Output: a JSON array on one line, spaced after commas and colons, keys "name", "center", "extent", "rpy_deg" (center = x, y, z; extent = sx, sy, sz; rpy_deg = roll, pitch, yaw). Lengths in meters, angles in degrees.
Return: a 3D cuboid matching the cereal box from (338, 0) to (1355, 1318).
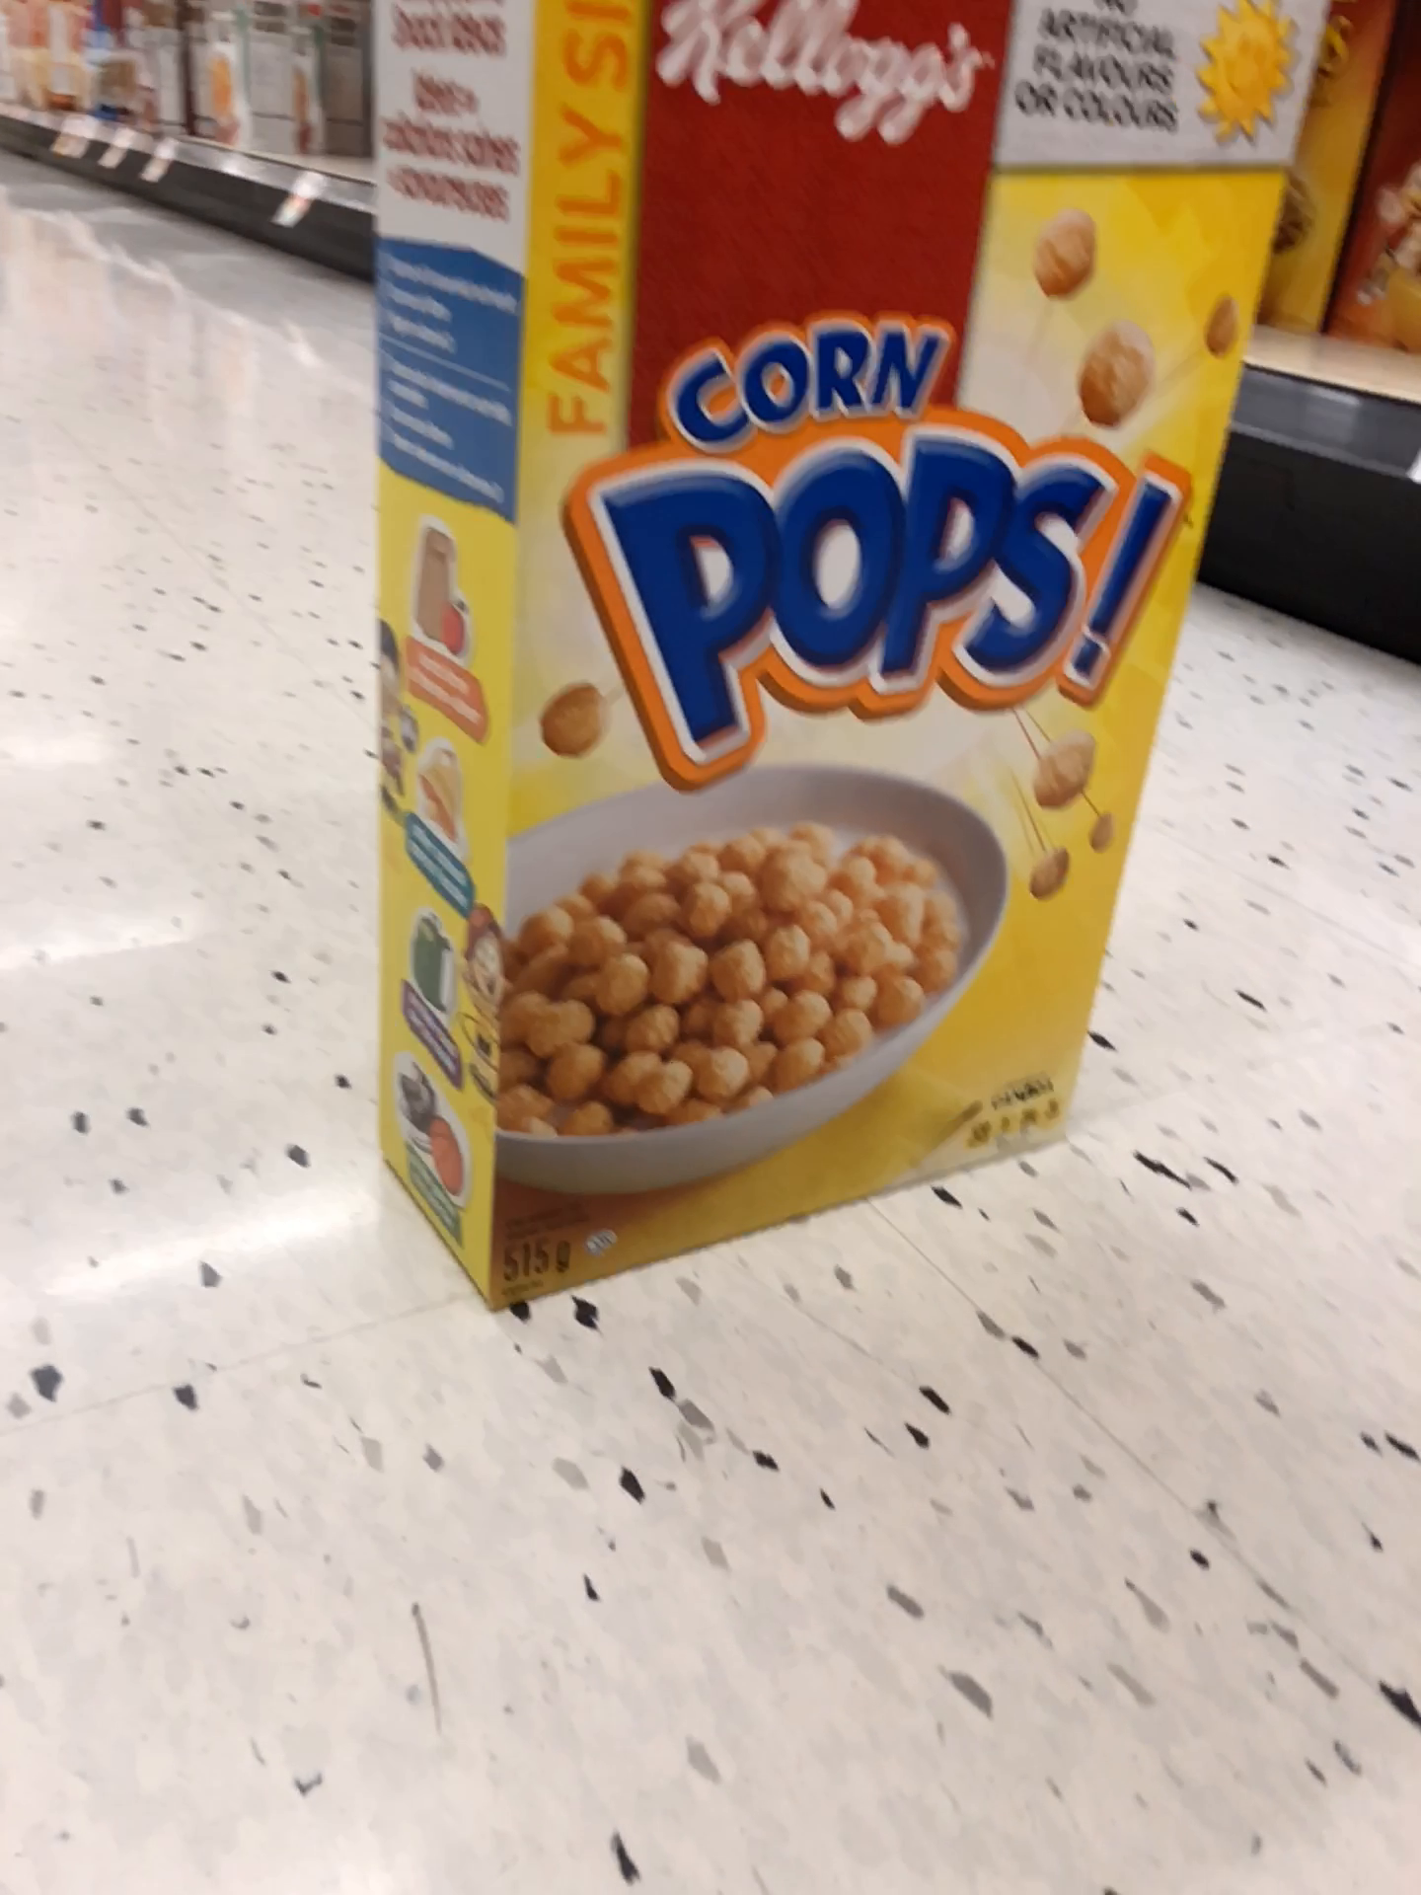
[{"name": "cereal box", "center": [0.018, -0.087, 0.409], "extent": [0.200, 0.318, 0.100], "rpy_deg": [-11, 31, -30]}]
